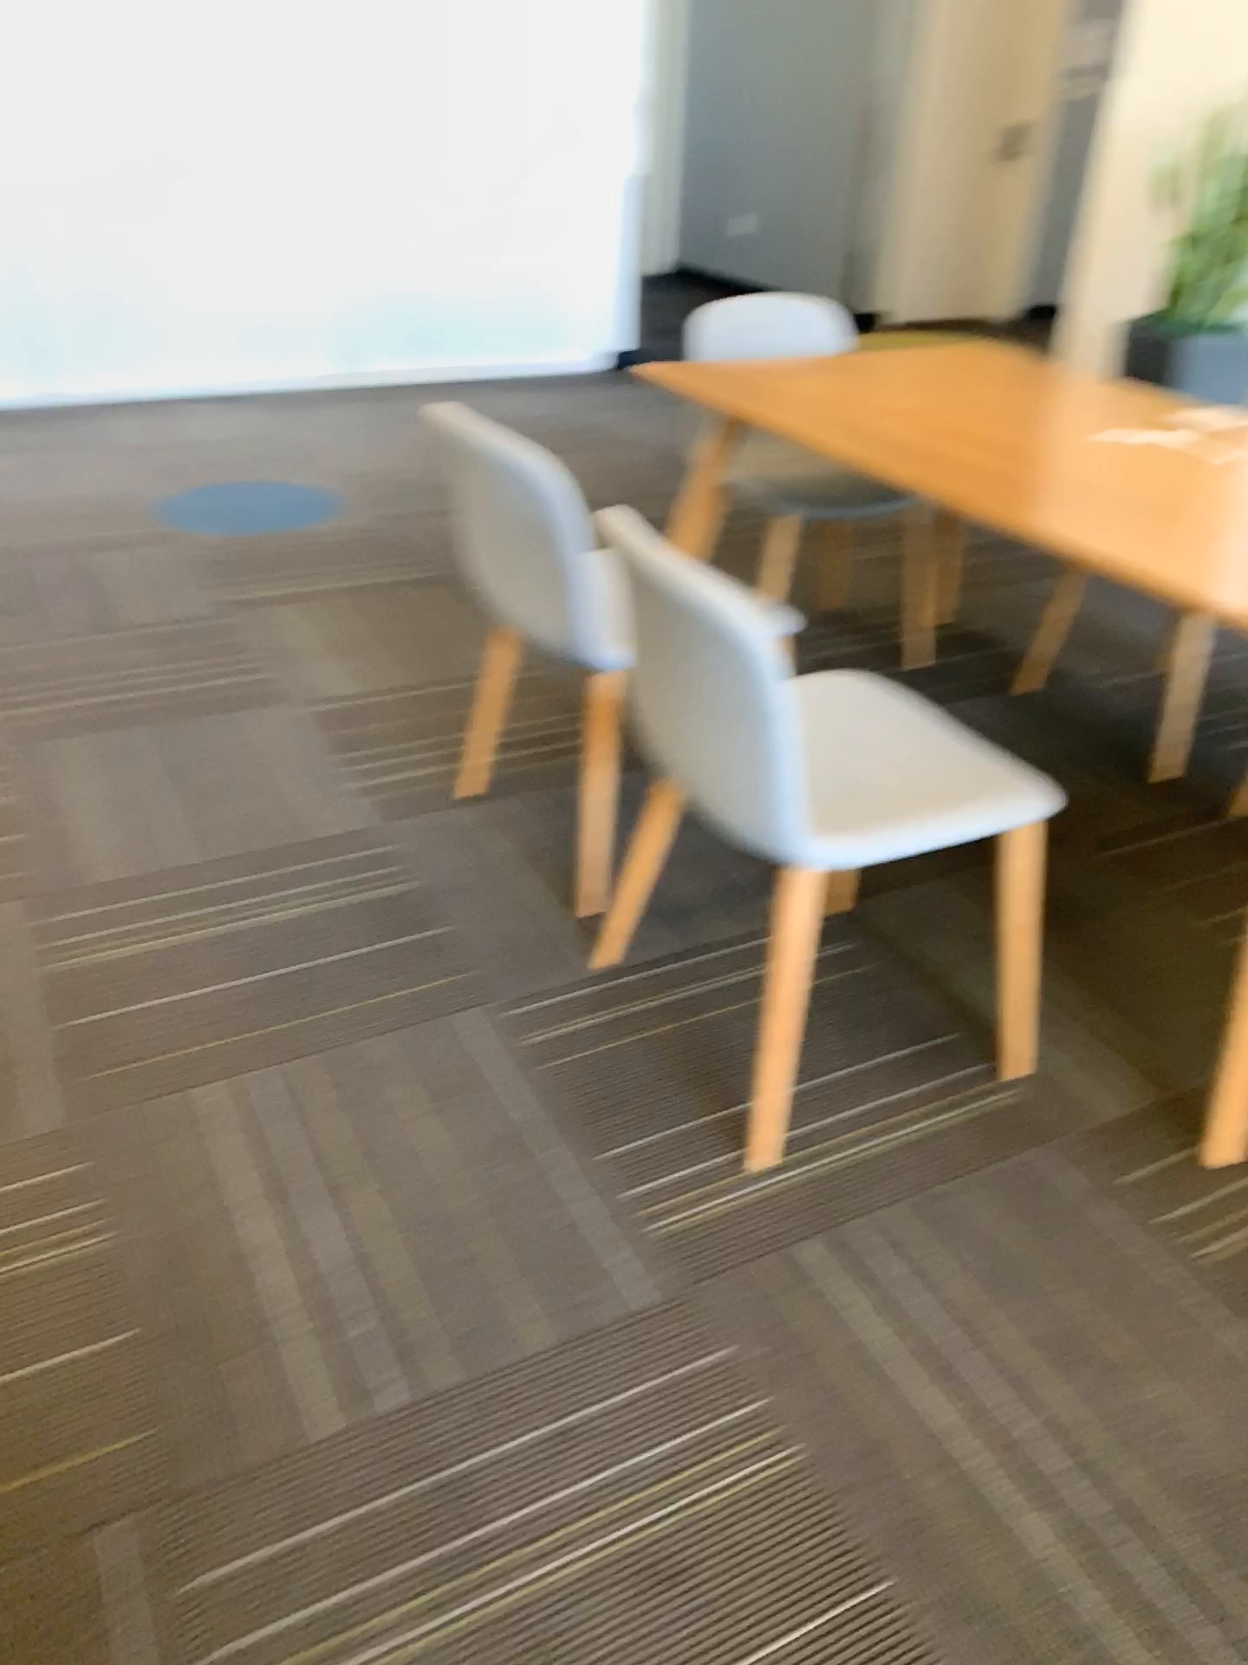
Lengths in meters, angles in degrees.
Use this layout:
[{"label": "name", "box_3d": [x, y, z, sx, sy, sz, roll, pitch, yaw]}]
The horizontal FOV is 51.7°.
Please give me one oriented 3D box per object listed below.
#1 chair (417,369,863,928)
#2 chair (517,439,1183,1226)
[{"label": "chair", "box_3d": [-0.008, -0.361, 2.320, 0.531, 0.775, 0.573, -13, 33, -25]}, {"label": "chair", "box_3d": [0.223, -0.043, 1.752, 0.571, 0.795, 0.593, -11, 33, -22]}]
